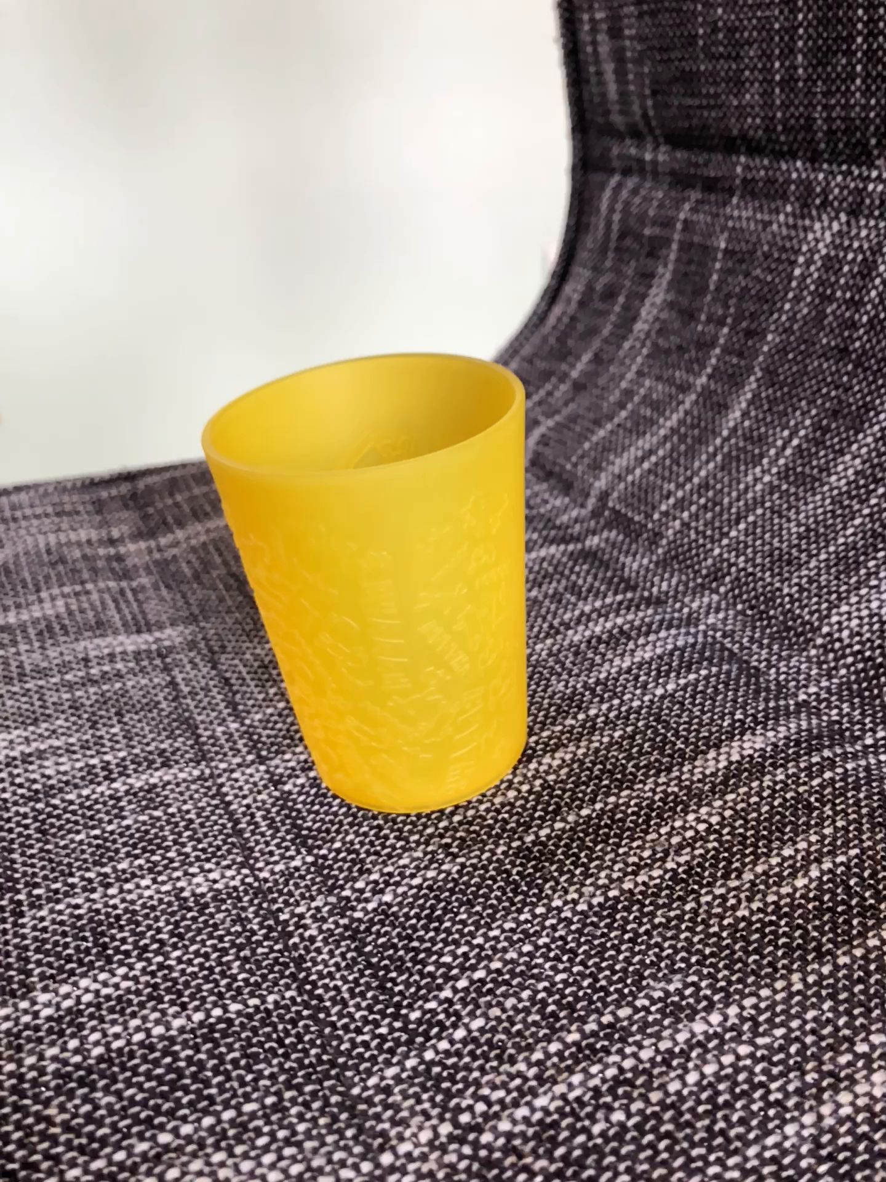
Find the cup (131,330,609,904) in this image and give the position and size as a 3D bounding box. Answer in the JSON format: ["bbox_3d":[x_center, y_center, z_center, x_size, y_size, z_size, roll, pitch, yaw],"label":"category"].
[{"bbox_3d":[-0.012,0.001,0.198,0.060,0.080,0.060,-7,31,4],"label":"cup"}]
